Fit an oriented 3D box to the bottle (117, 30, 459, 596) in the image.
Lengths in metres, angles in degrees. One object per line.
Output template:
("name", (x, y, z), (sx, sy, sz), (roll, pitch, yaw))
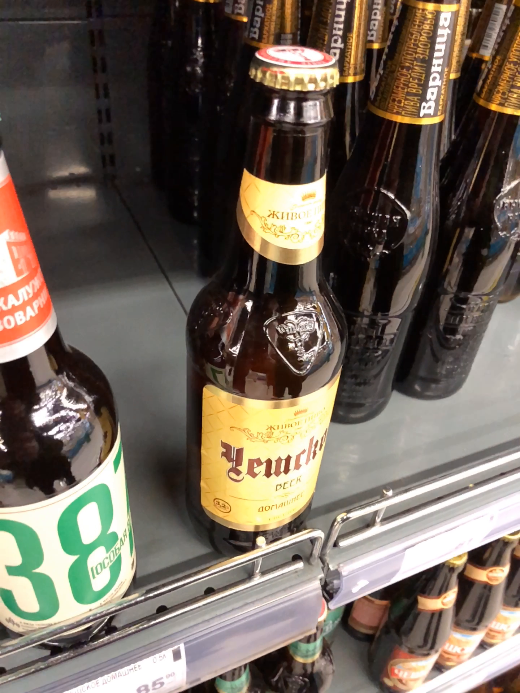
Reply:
("bottle", (-0.003, 0.001, 0.260), (0.080, 0.239, 0.080), (3, 40, -3))
